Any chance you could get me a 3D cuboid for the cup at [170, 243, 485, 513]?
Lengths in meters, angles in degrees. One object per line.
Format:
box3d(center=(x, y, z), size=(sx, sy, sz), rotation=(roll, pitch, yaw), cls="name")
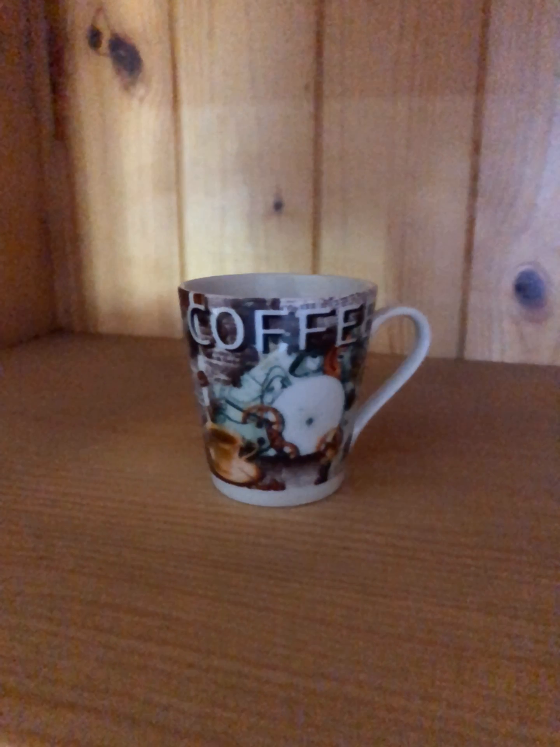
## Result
box3d(center=(0.011, -0.003, 0.196), size=(0.080, 0.070, 0.060), rotation=(0, 15, -3), cls="cup")
